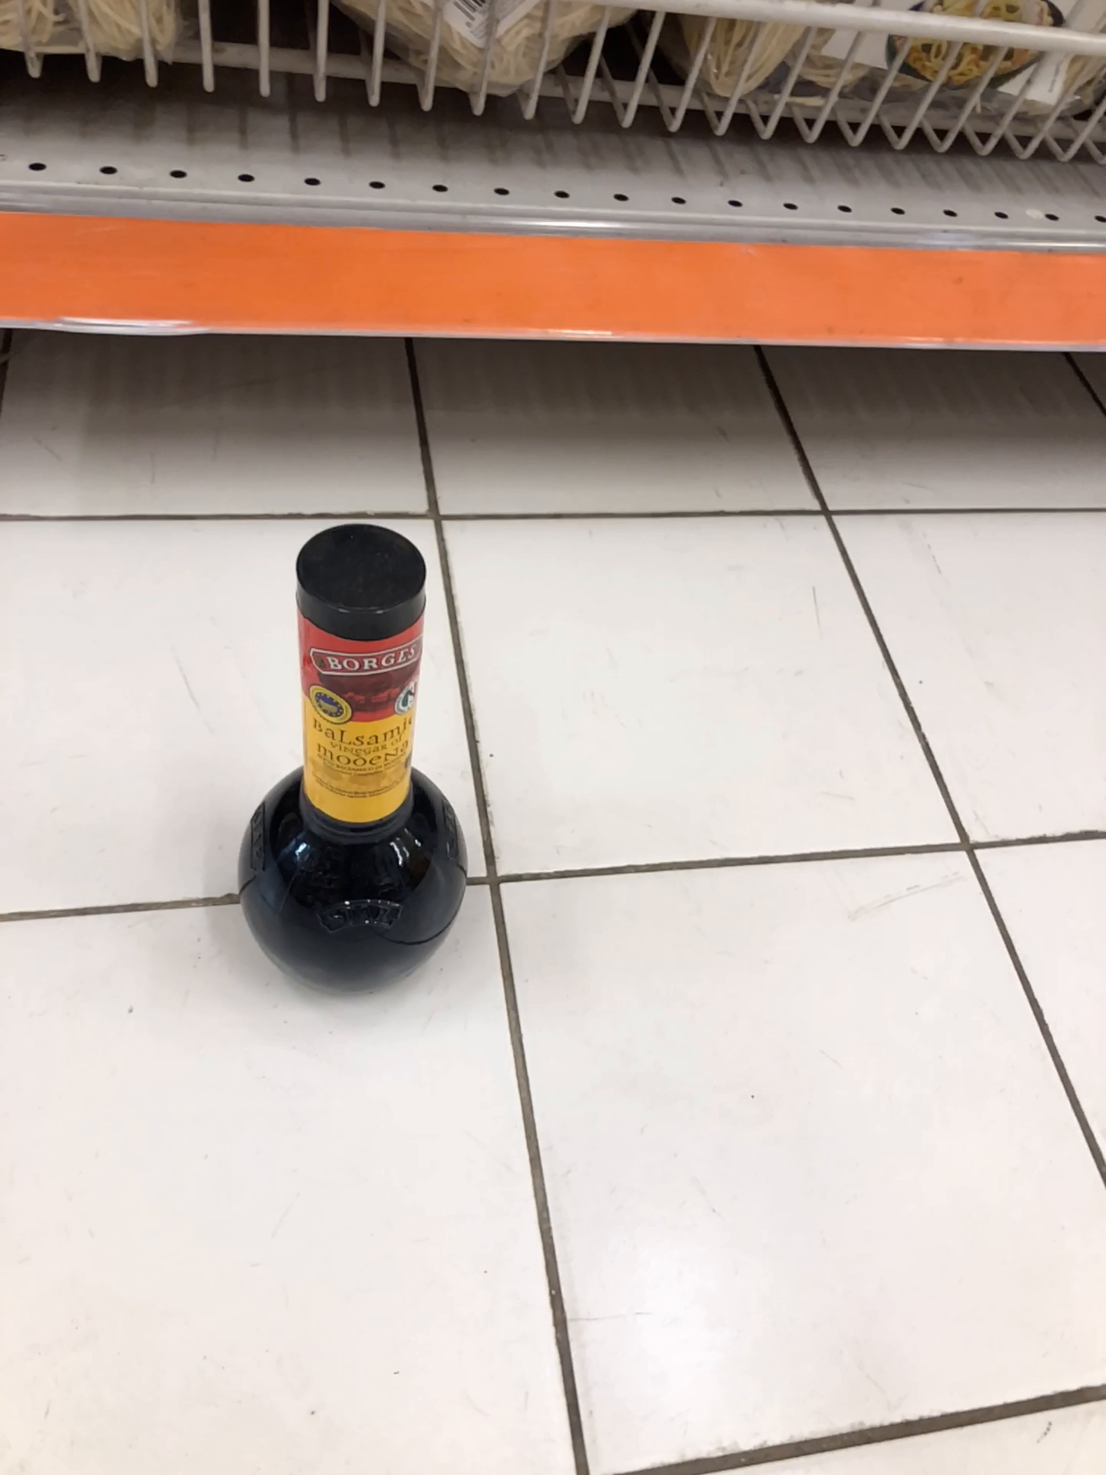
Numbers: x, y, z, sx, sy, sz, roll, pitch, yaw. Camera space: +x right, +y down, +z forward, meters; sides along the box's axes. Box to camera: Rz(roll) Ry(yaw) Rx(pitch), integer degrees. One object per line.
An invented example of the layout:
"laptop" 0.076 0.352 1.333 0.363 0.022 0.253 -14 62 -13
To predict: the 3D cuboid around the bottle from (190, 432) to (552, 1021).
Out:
"bottle" -0.058 0.006 0.367 0.080 0.179 0.080 5 52 -7
